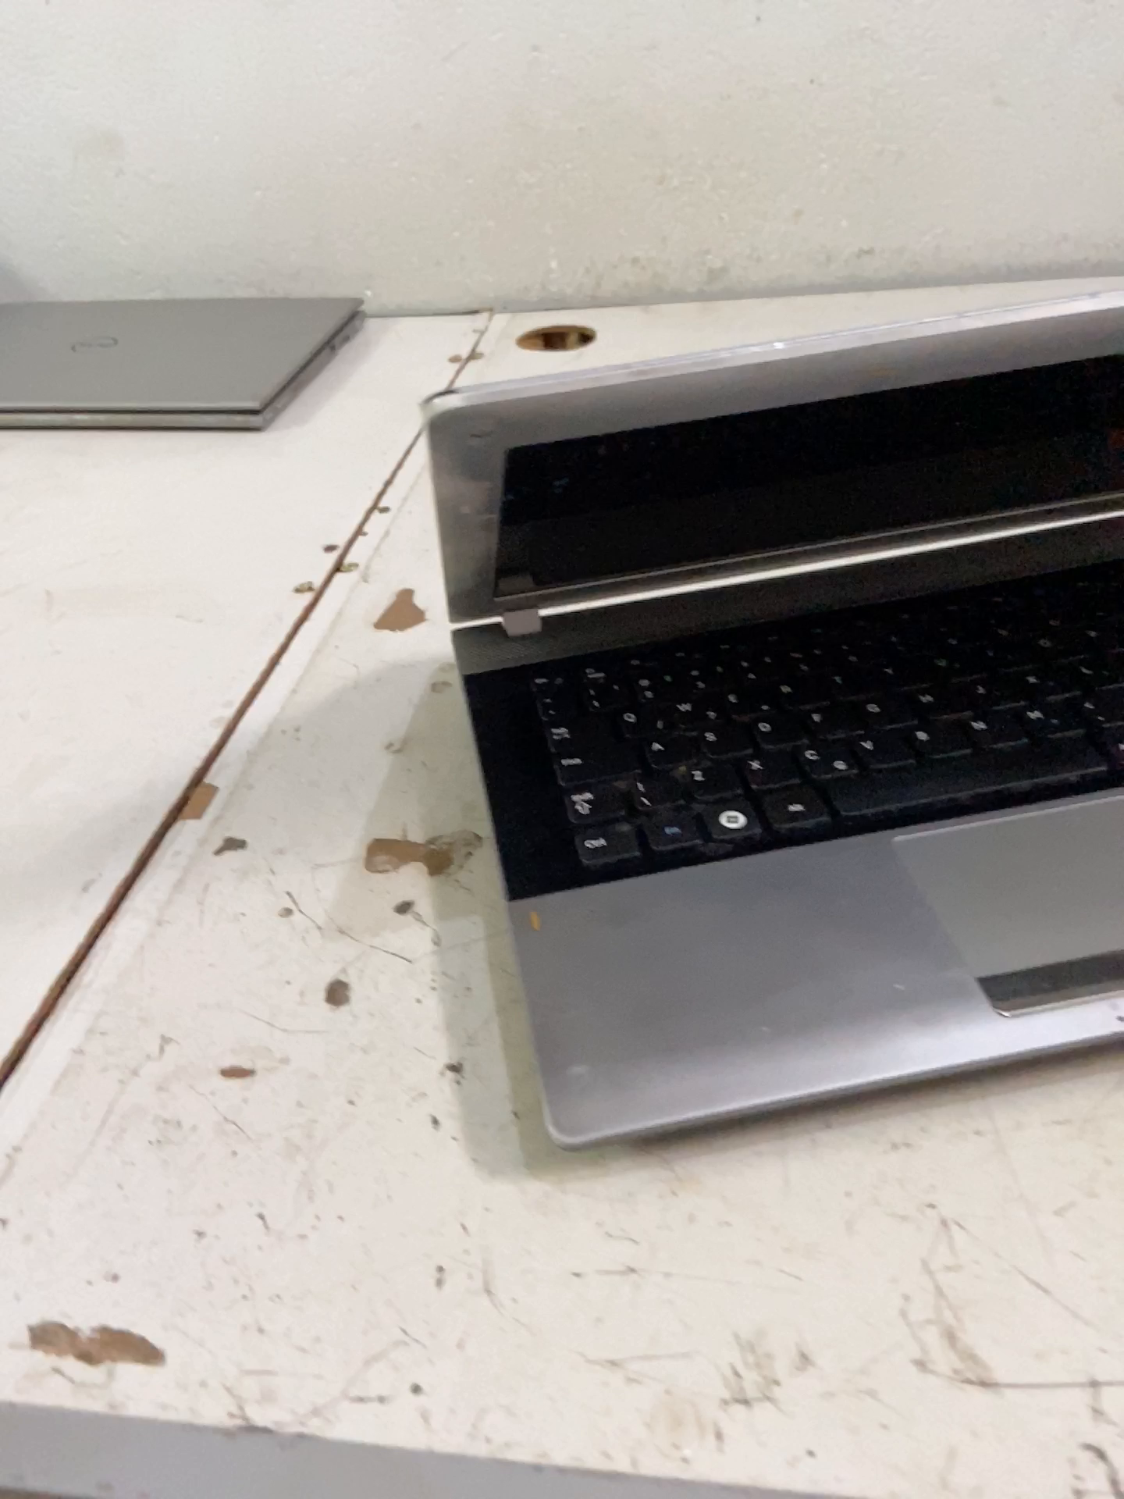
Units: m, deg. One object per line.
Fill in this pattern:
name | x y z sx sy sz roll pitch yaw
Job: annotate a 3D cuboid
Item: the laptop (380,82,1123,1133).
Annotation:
laptop | 0.139 -0.071 0.335 0.344 0.150 0.234 -10 37 -6
